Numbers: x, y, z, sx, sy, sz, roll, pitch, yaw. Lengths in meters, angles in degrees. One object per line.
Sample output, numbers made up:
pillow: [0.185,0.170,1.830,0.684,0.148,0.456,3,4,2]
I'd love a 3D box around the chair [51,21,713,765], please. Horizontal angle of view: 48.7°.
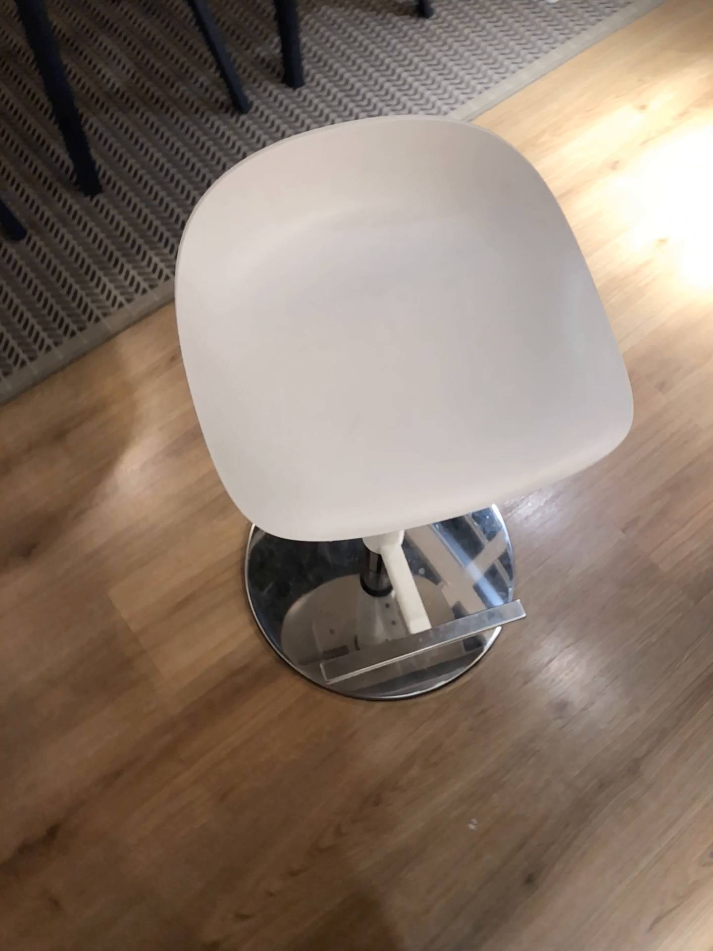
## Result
chair: [0.028,-0.008,0.915,0.440,0.700,0.450,-19,66,-10]
